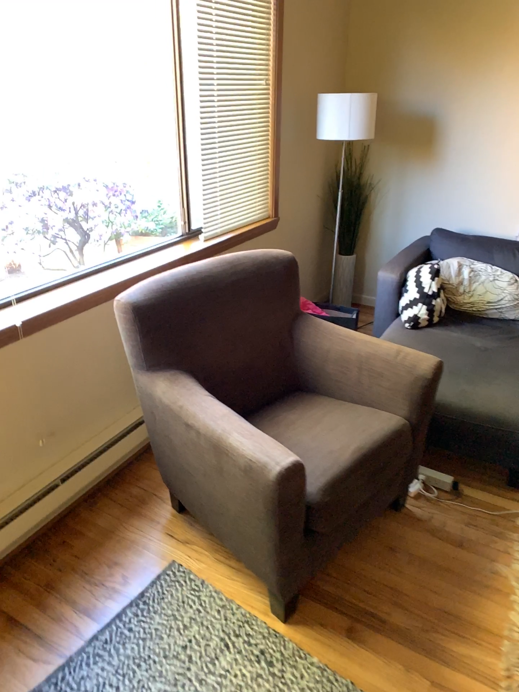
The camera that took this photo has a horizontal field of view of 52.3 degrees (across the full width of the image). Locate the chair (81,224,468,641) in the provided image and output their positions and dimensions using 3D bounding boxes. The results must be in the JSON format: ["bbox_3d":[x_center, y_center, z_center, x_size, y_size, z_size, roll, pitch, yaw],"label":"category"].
[{"bbox_3d":[0.070,0.148,1.789,0.803,0.875,0.882,20,31,39],"label":"chair"}]
